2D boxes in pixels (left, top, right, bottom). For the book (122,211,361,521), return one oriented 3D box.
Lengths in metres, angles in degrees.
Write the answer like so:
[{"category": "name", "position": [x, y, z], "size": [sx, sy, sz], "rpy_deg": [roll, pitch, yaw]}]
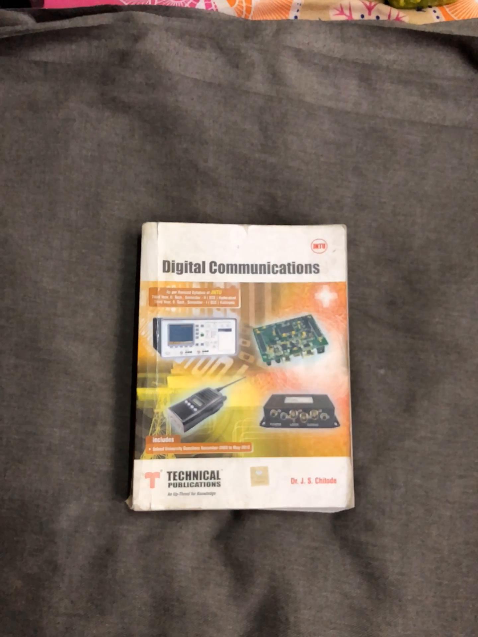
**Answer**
[{"category": "book", "position": [0.005, 0.036, 0.447], "size": [0.181, 0.050, 0.241], "rpy_deg": [1, 81, 0]}]
